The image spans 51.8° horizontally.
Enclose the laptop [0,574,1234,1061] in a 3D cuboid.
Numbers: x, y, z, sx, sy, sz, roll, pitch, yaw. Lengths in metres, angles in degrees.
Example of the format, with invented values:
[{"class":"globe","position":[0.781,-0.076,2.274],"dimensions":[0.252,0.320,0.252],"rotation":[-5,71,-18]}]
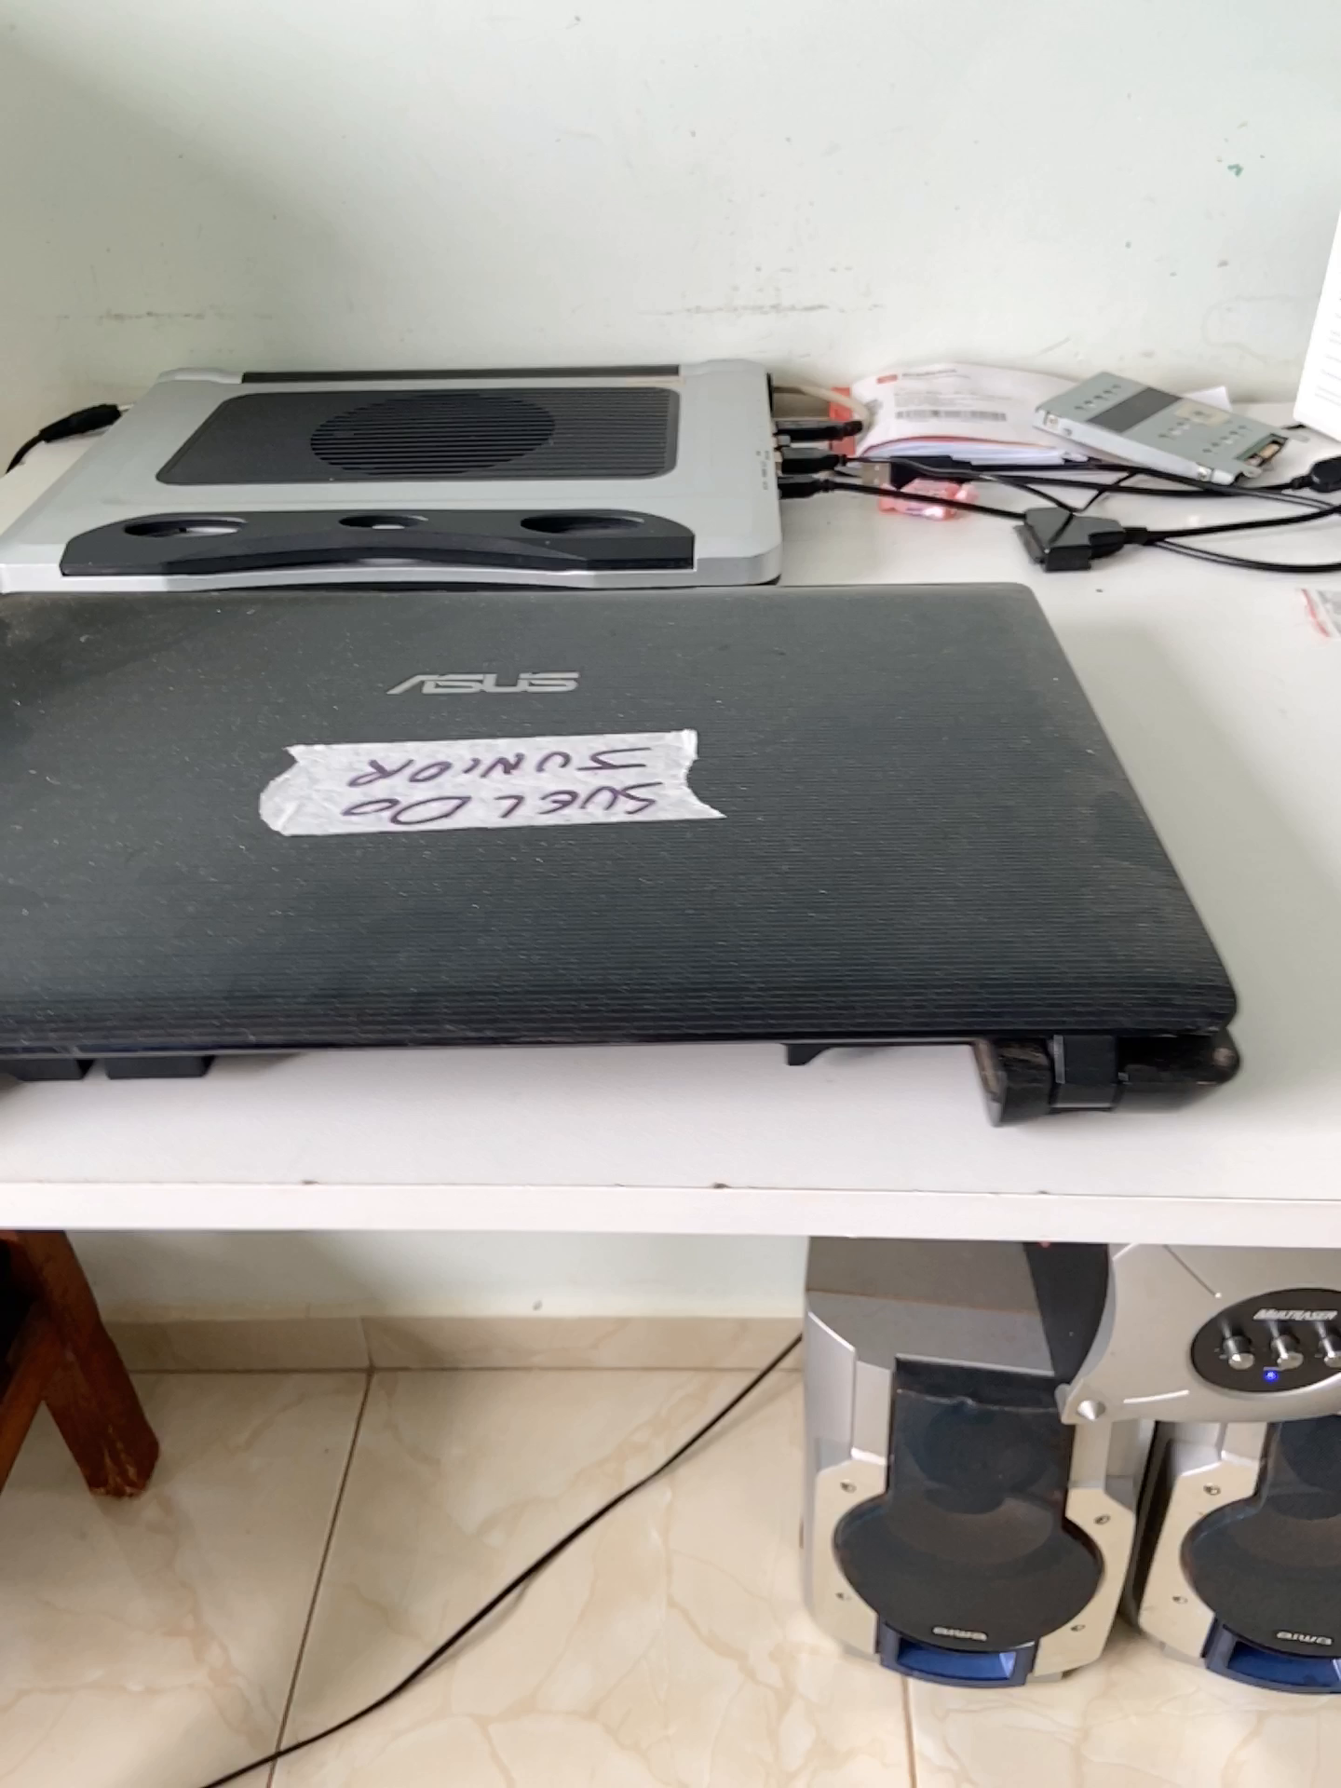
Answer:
[{"class":"laptop","position":[-0.060,-0.038,0.392],"dimensions":[0.362,0.001,0.238],"rotation":[-1,35,2]}]
